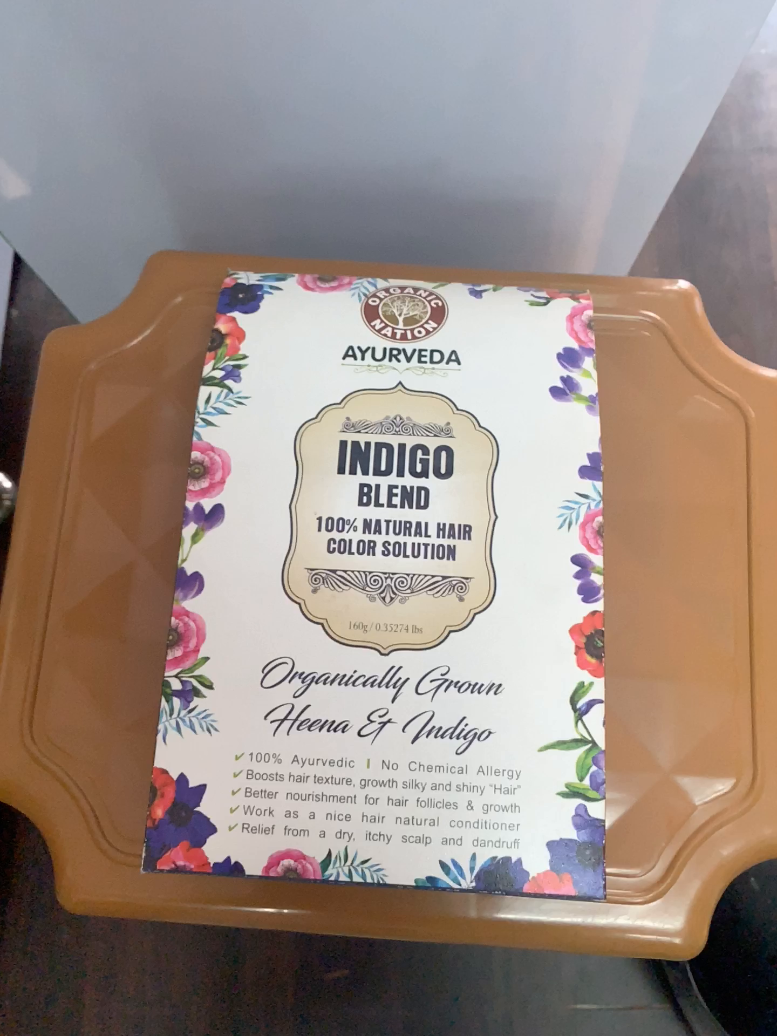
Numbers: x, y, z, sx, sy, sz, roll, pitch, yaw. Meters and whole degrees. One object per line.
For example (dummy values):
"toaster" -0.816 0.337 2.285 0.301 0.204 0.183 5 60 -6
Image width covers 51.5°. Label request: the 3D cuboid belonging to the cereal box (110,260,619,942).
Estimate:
"cereal box" -0.001 0.023 0.278 0.140 0.070 0.200 3 77 2
